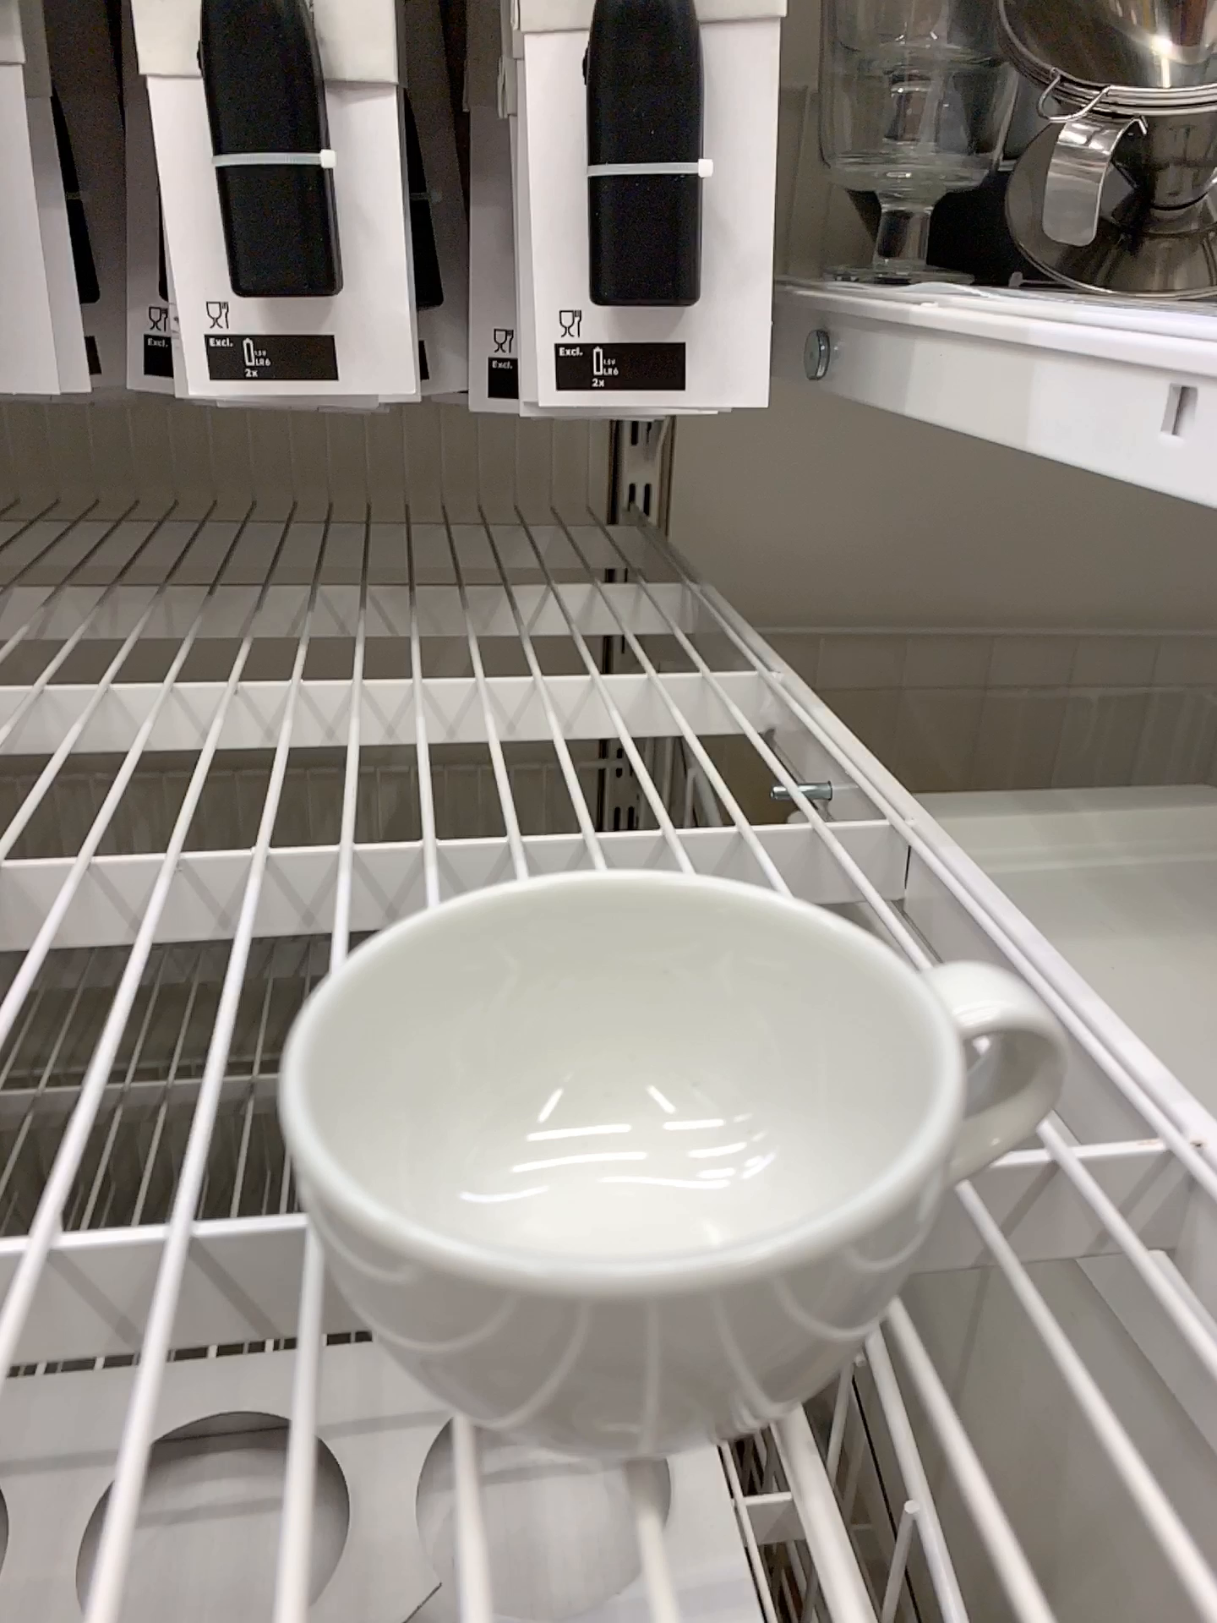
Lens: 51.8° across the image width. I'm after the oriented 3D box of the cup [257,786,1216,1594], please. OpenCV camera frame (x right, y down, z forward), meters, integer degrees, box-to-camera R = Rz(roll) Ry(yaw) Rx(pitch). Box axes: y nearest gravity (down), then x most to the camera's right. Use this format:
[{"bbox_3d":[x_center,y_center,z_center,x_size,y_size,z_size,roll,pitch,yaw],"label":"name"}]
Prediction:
[{"bbox_3d":[0.014,0.036,0.172,0.116,0.036,0.097,-4,25,-15],"label":"cup"}]
